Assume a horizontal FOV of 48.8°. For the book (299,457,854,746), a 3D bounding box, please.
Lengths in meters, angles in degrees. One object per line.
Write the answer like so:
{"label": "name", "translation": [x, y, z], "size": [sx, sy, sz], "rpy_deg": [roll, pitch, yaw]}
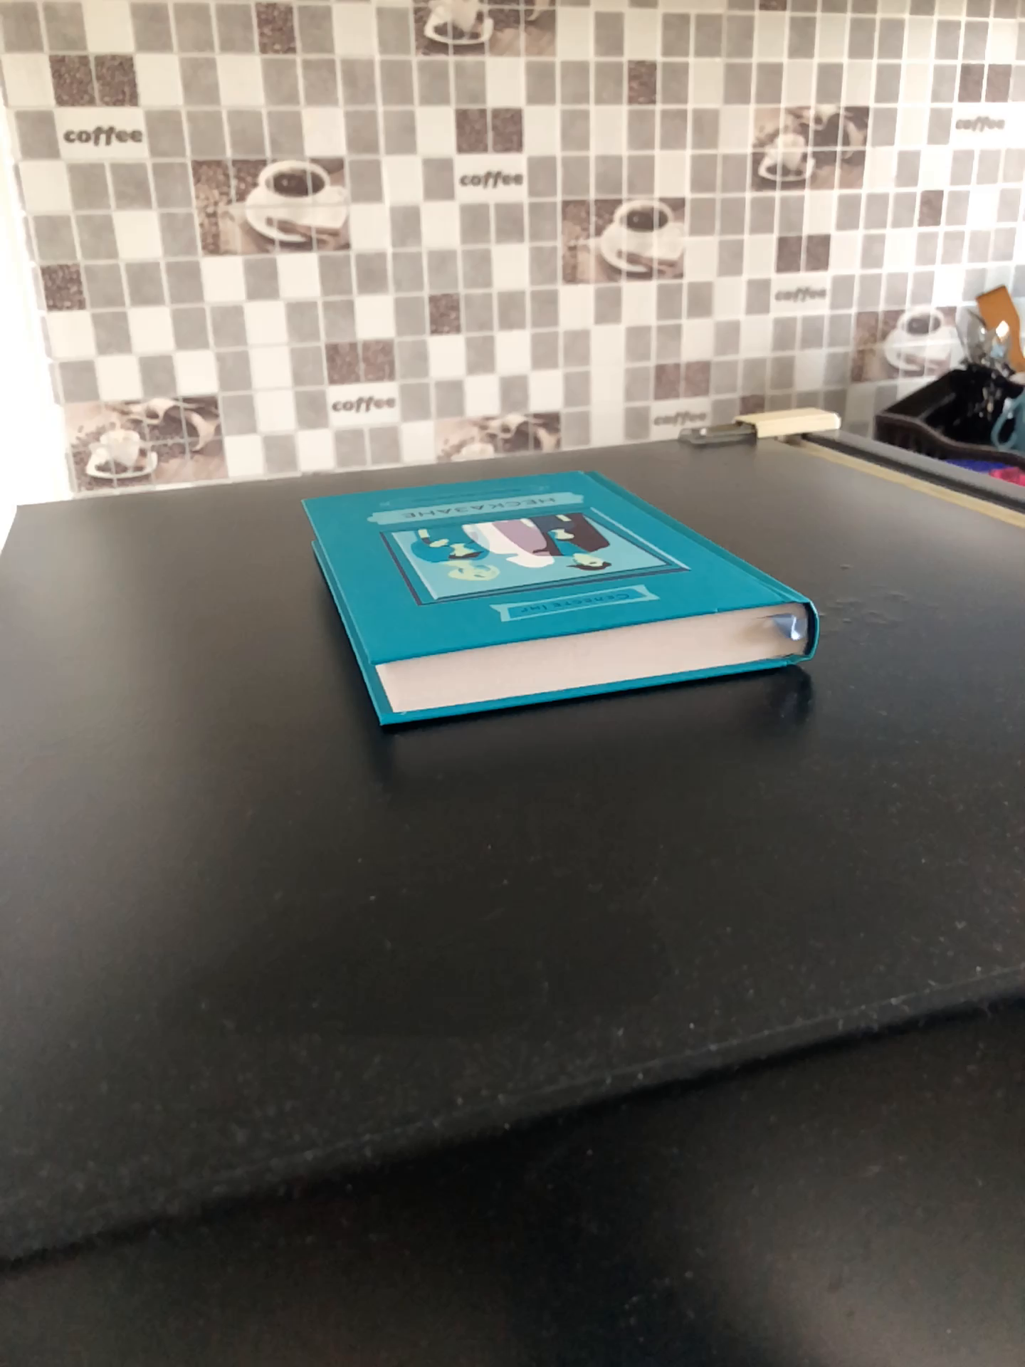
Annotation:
{"label": "book", "translation": [0.006, -0.046, 0.444], "size": [0.151, 0.030, 0.221], "rpy_deg": [-8, 24, -14]}
